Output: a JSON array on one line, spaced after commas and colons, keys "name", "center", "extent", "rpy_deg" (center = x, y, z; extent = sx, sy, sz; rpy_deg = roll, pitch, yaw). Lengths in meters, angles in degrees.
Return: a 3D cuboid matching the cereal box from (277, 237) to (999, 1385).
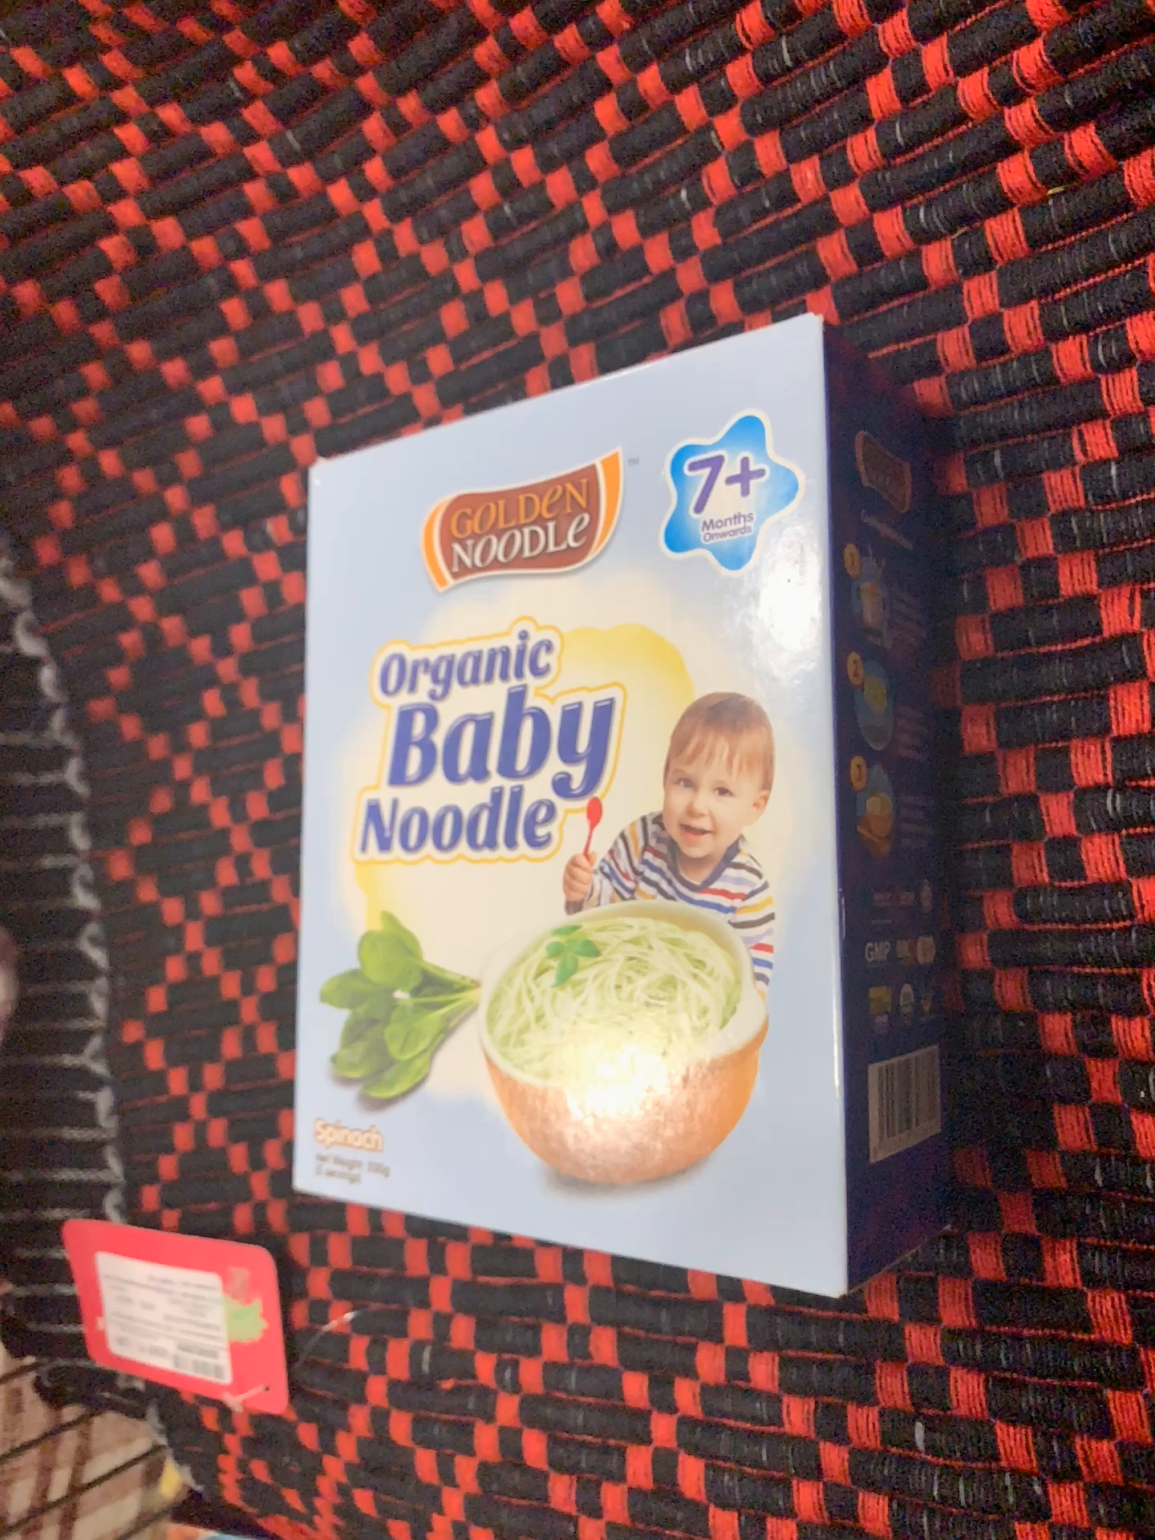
[{"name": "cereal box", "center": [0.005, 0.008, 0.237], "extent": [0.131, 0.050, 0.170], "rpy_deg": [-5, 84, 35]}]
